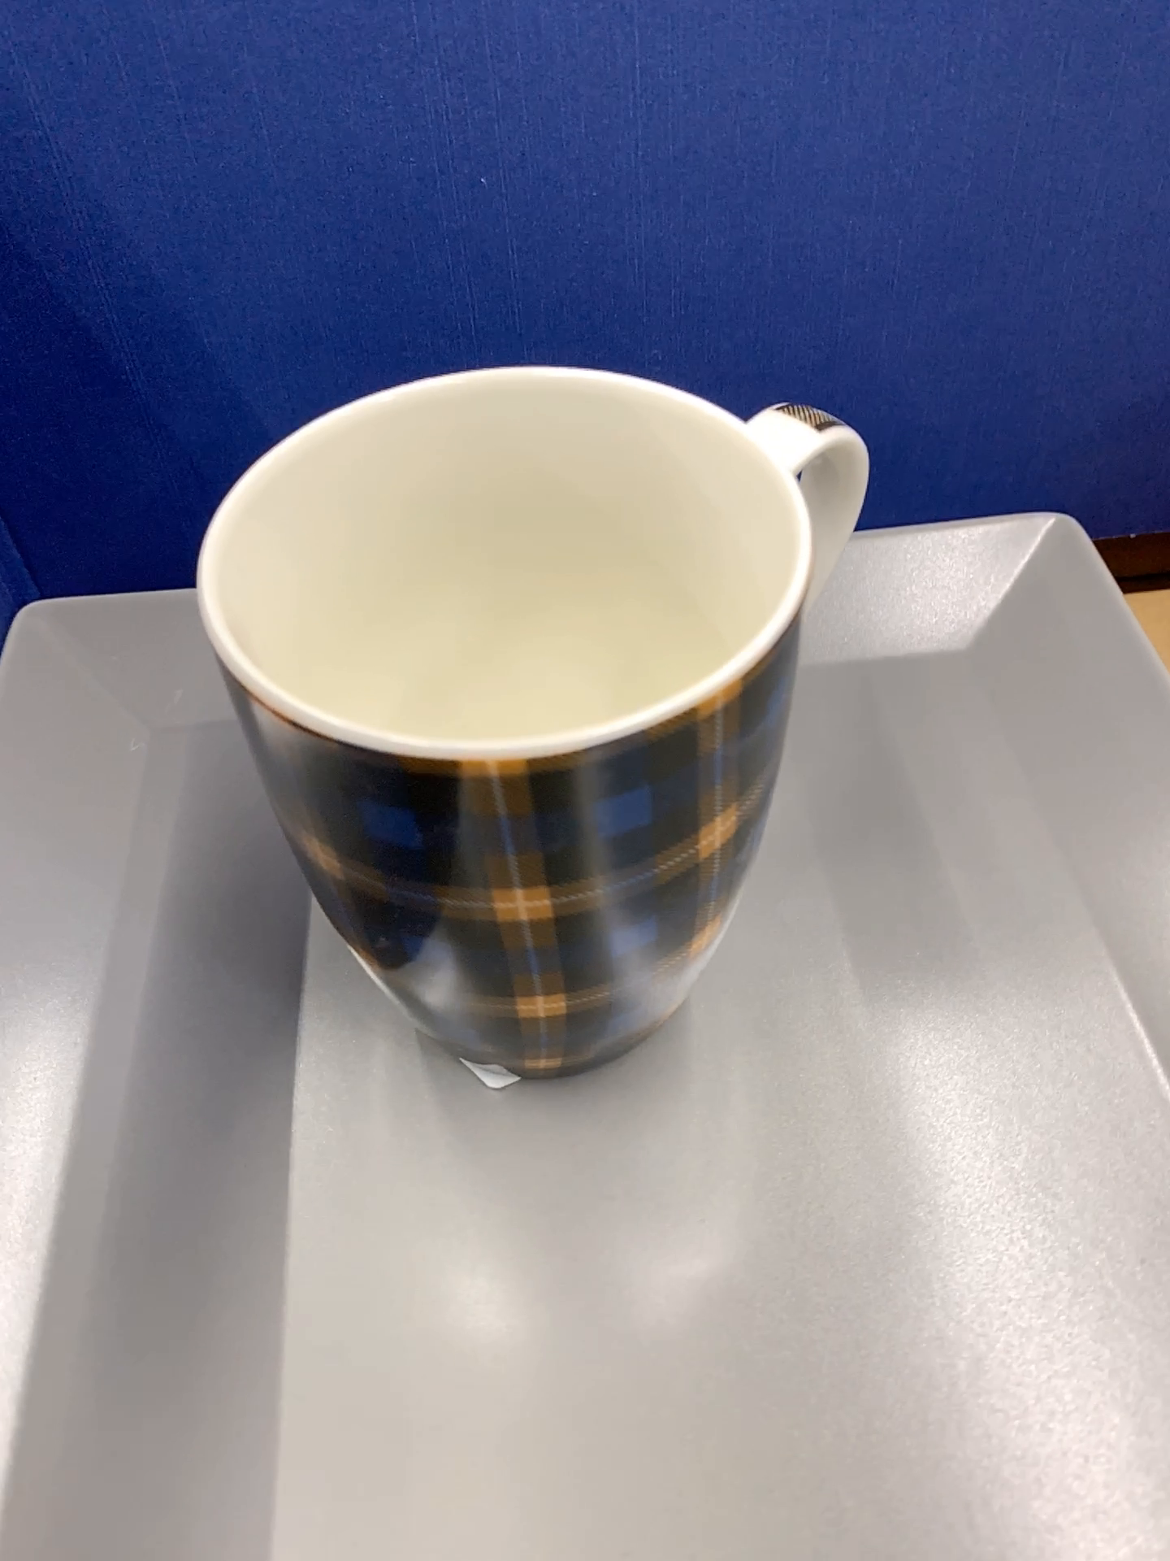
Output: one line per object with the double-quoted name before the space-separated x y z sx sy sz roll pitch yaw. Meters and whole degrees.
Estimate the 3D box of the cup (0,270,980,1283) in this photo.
"cup" -0.008 -0.010 0.206 0.095 0.089 0.122 22 52 24
